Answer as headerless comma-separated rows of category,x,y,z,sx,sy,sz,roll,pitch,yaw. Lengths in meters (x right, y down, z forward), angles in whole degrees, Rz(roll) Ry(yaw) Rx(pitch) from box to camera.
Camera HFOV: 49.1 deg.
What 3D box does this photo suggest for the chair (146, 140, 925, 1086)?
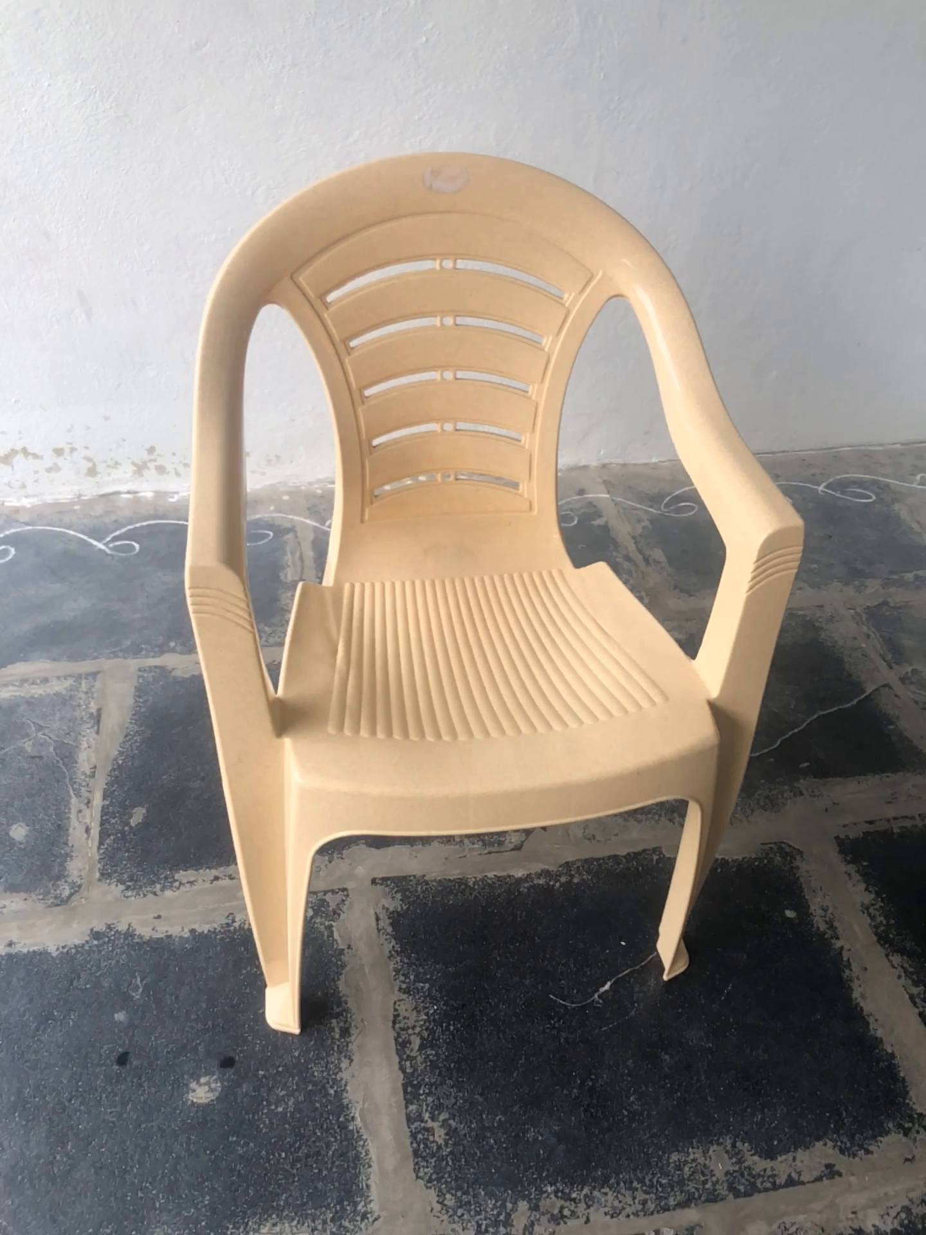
chair,0.032,-0.039,1.132,0.621,0.736,0.652,-7,42,-14
